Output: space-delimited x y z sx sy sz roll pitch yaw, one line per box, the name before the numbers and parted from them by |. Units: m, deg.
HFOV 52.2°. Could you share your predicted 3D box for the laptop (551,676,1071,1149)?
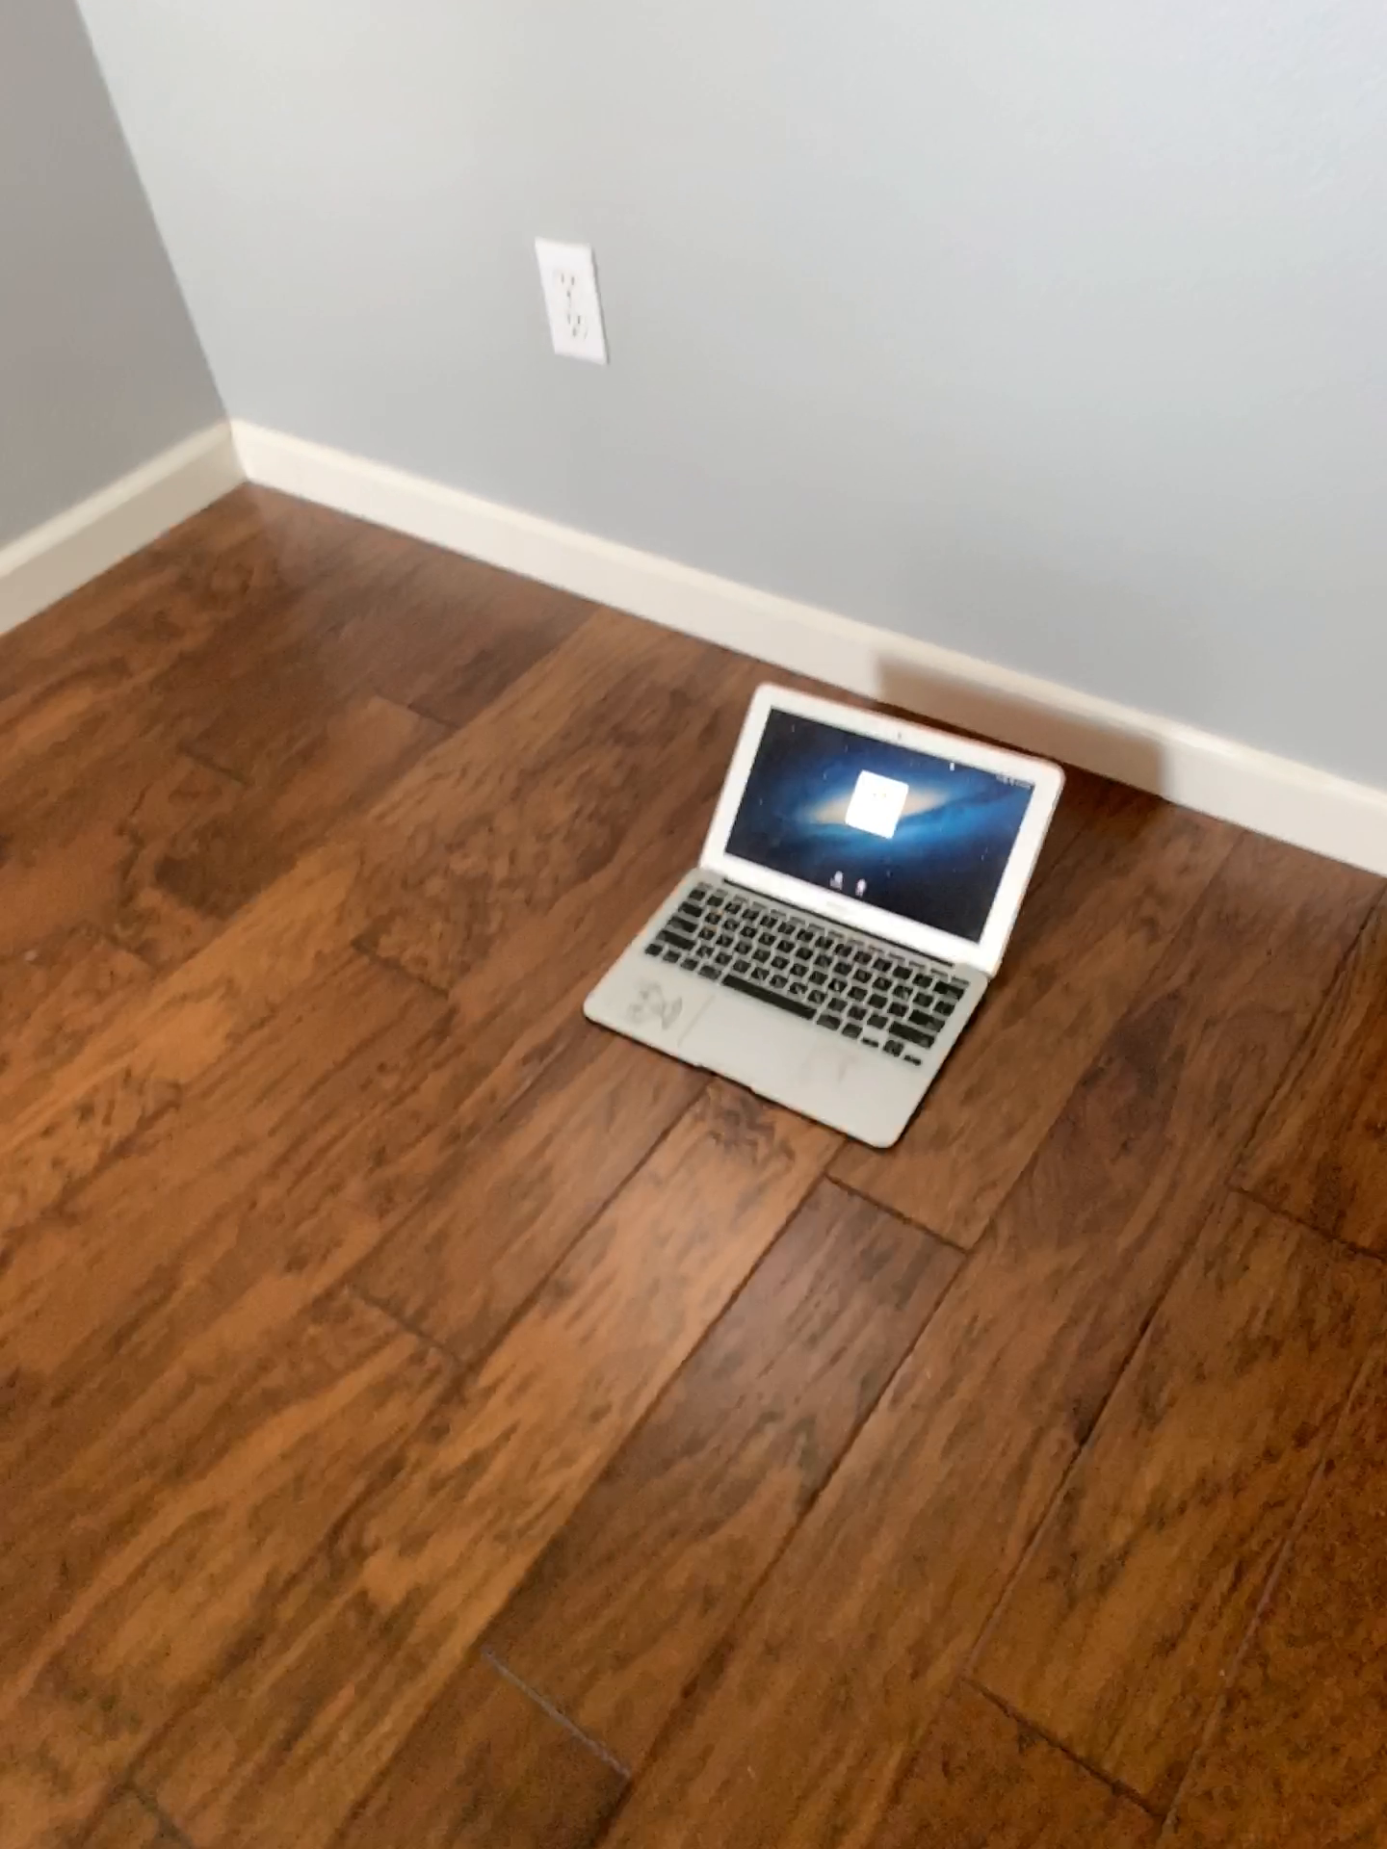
laptop | 0.102 -0.028 1.170 0.293 0.117 0.324 21 55 27
